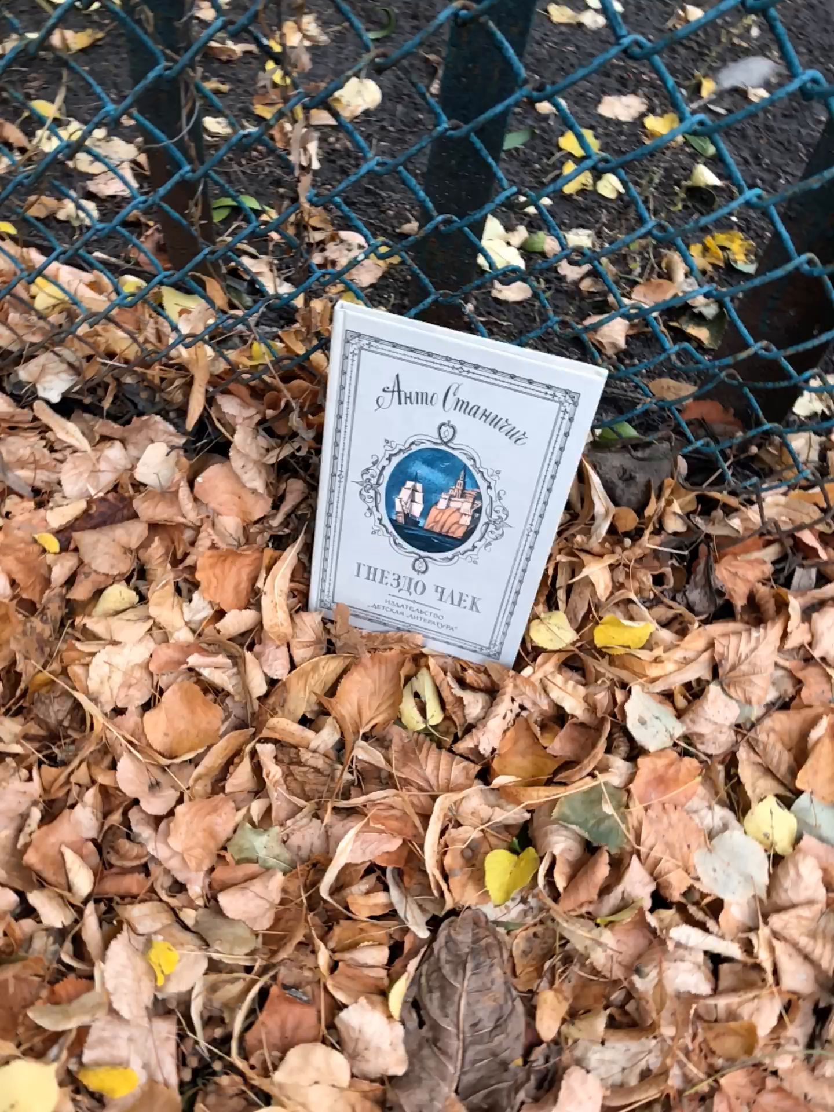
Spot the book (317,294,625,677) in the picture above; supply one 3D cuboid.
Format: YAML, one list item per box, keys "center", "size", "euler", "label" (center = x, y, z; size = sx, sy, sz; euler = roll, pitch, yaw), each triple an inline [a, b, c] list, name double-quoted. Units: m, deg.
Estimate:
- center: [0.016, -0.025, 0.477]
  size: [0.128, 0.200, 0.016]
  euler: [17, 43, 7]
  label: "book"
